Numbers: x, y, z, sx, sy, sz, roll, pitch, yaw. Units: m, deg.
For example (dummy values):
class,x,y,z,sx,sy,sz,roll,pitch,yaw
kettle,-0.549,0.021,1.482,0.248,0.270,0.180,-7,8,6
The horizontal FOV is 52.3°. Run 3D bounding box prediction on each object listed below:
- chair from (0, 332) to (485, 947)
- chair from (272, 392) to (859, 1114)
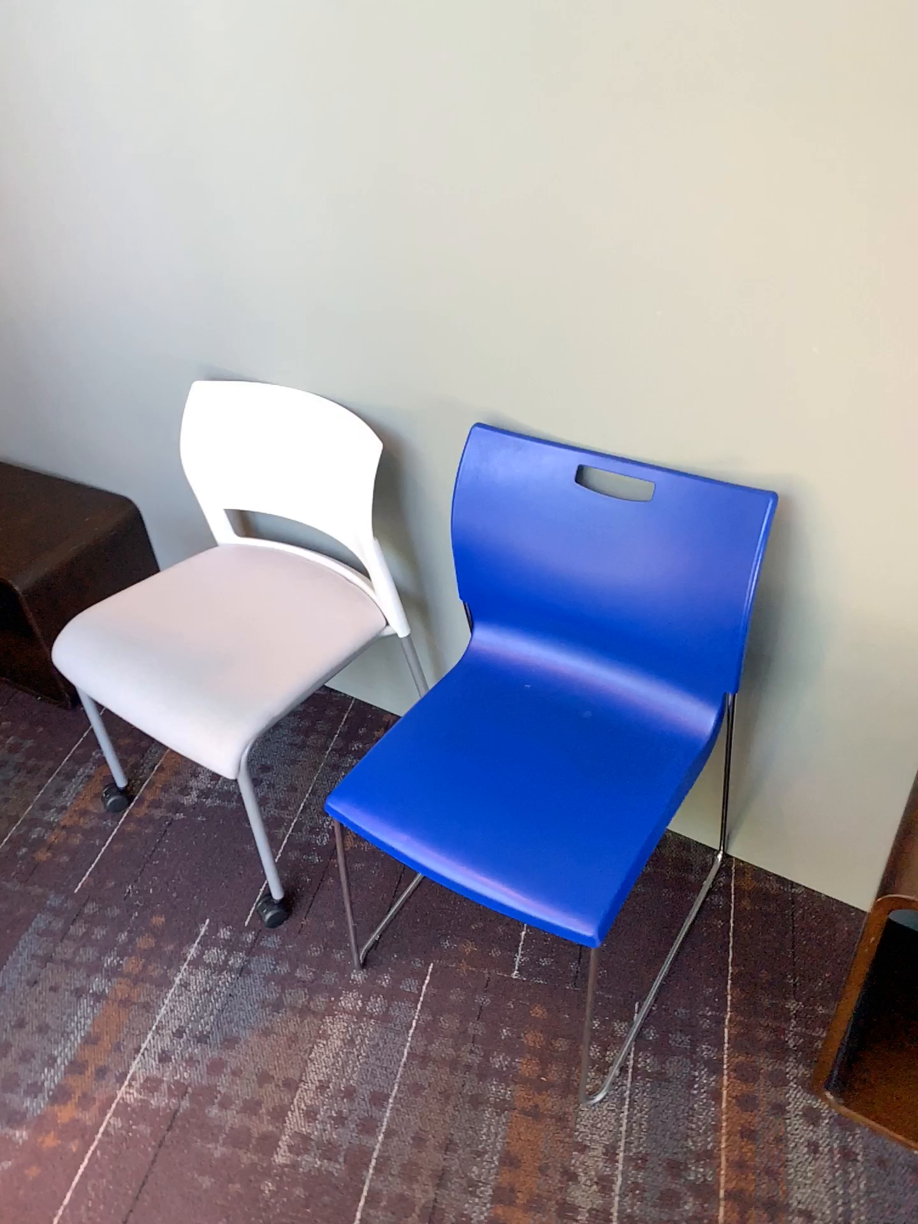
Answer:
class,x,y,z,sx,sy,sz,roll,pitch,yaw
chair,-0.350,0.038,1.678,0.591,0.795,0.562,17,42,17
chair,0.179,0.177,1.520,0.592,0.795,0.622,19,39,28
